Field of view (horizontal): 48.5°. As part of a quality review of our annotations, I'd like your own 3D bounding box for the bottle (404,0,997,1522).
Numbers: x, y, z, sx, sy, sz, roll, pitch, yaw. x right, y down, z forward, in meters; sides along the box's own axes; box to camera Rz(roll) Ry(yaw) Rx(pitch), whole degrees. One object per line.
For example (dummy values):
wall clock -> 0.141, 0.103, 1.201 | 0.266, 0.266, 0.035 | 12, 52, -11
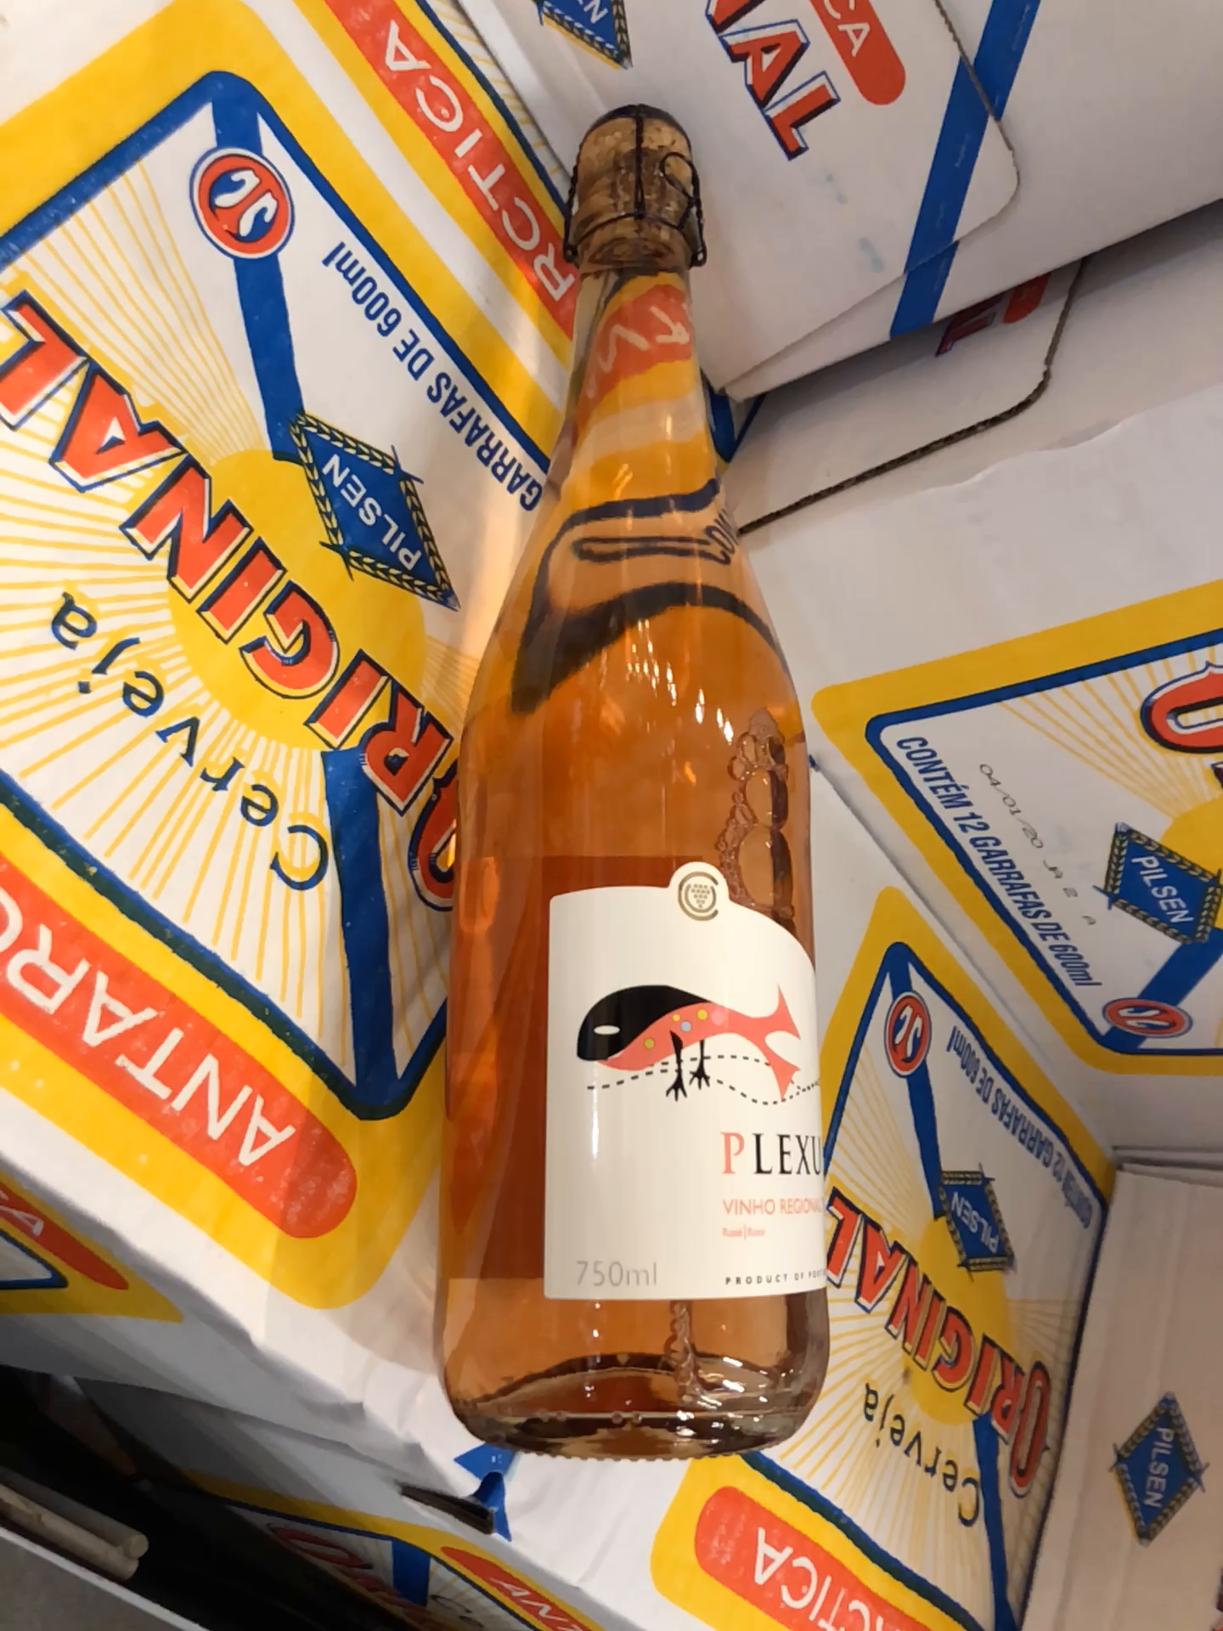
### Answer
bottle -> 0.021, -0.021, 0.294 | 0.091, 0.070, 0.290 | 15, 70, -43
